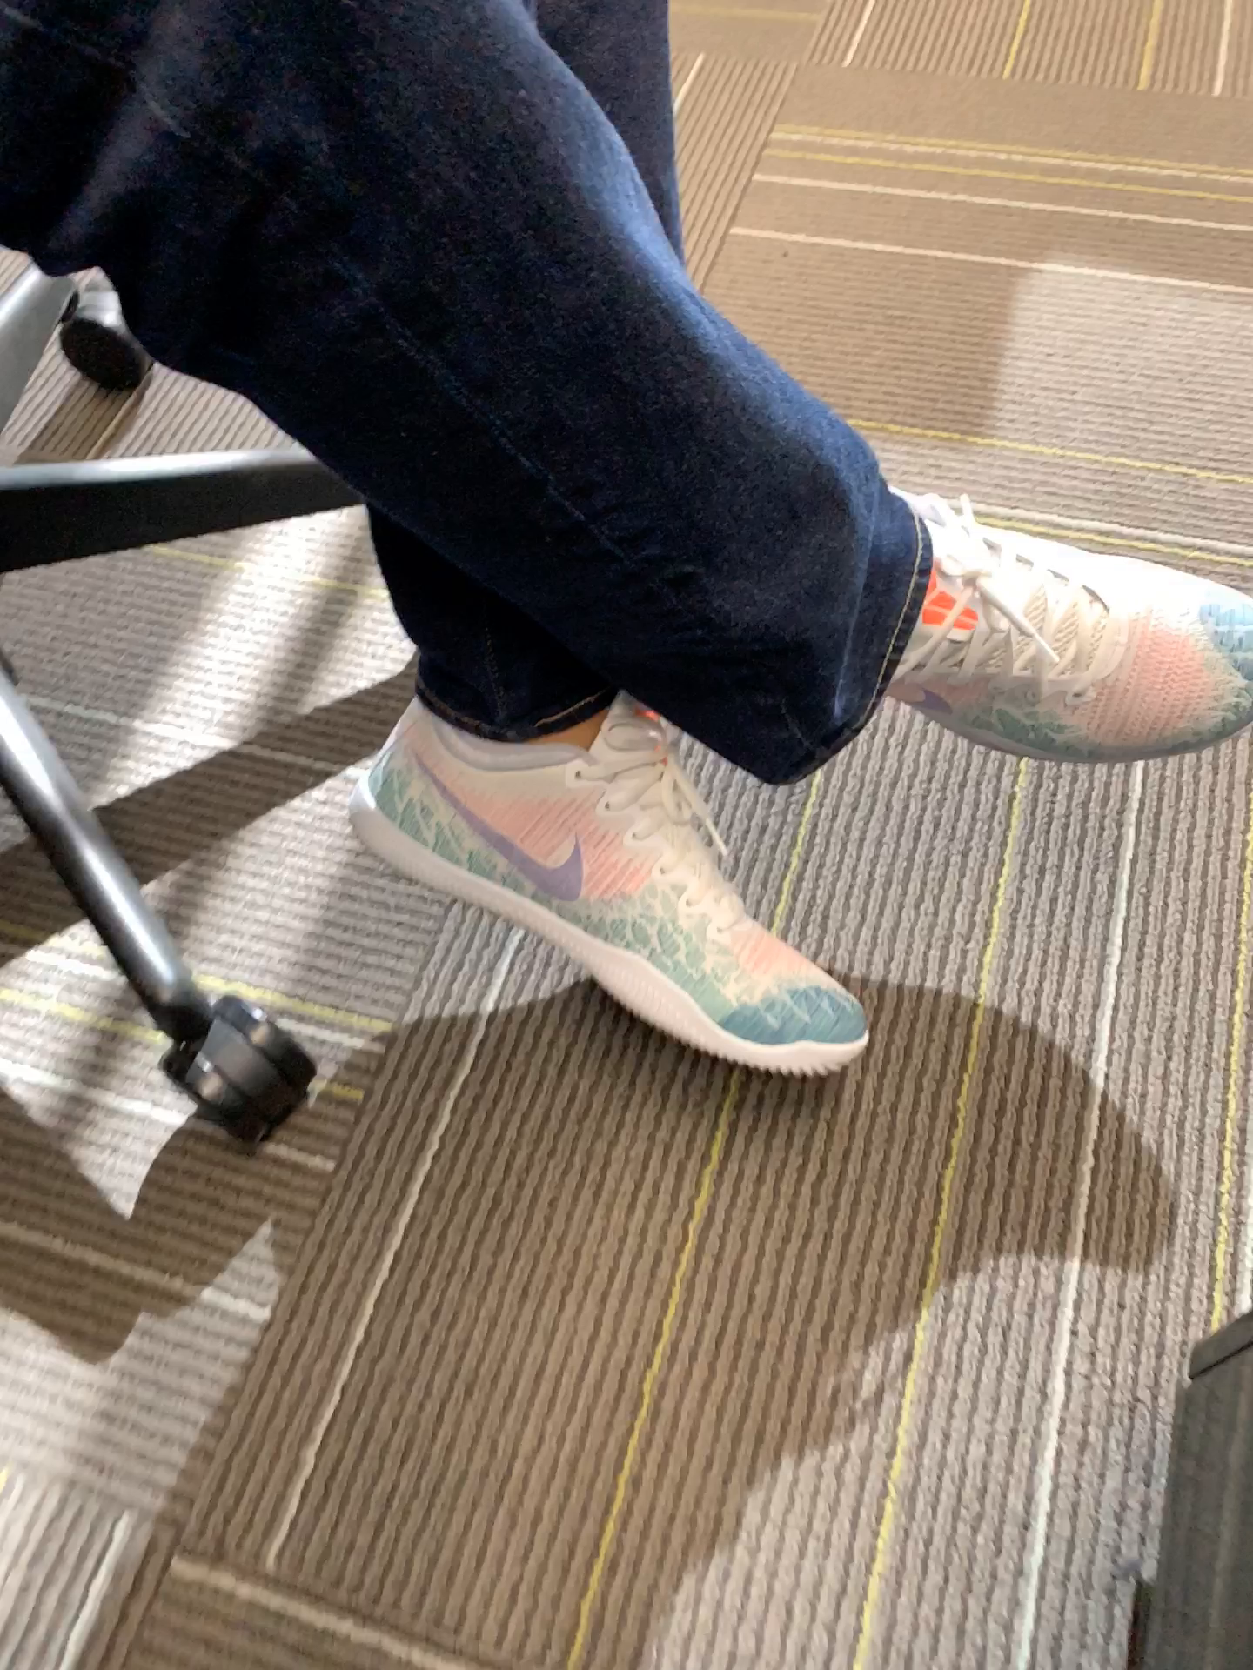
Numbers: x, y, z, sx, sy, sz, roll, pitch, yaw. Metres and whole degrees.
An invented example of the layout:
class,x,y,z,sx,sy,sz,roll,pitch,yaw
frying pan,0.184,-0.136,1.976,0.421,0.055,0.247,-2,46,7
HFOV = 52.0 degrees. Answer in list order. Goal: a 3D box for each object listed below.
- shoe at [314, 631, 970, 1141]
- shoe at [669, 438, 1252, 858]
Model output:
class,x,y,z,sx,sy,sz,roll,pitch,yaw
shoe,0.000,0.013,0.627,0.286,0.108,0.115,23,34,19
shoe,0.172,-0.099,0.621,0.265,0.108,0.113,20,22,10
